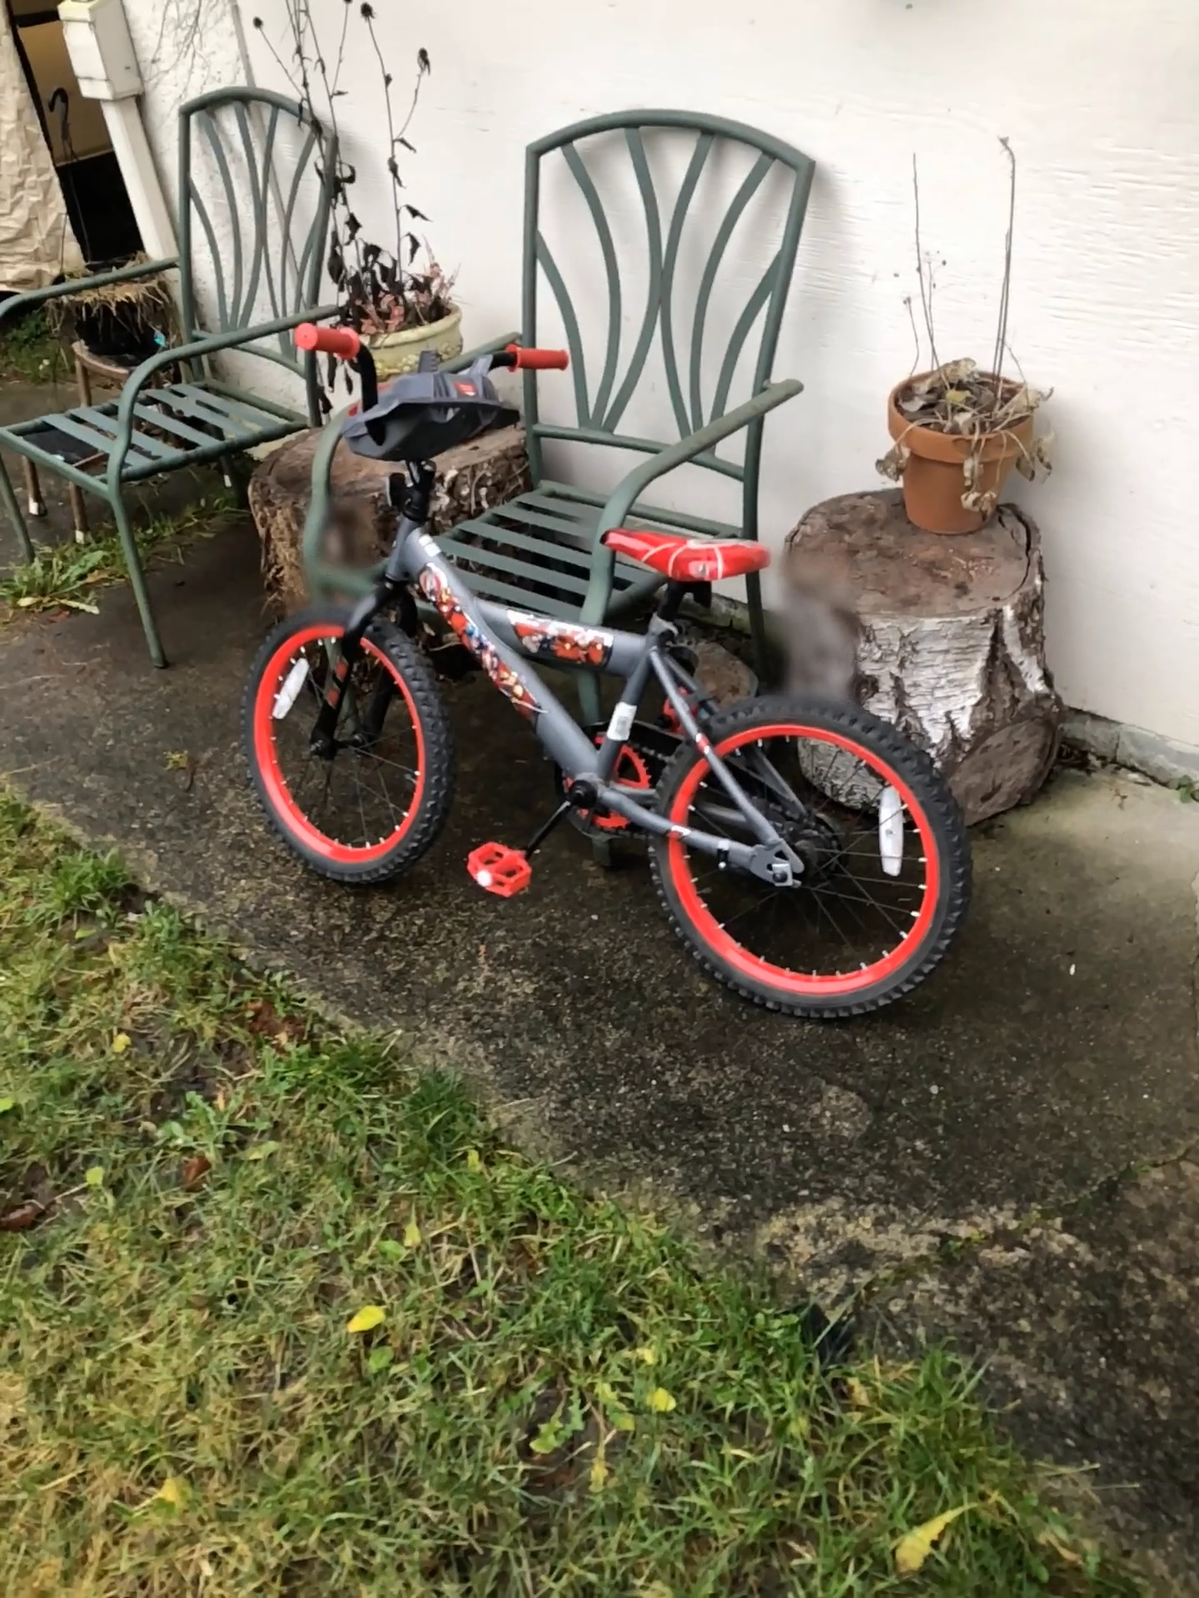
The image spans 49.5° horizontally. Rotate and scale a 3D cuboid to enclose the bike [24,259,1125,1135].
[{"bbox_3d":[-0.031,-0.220,1.829,1.202,0.853,0.603,15,42,28],"label":"bike"}]
